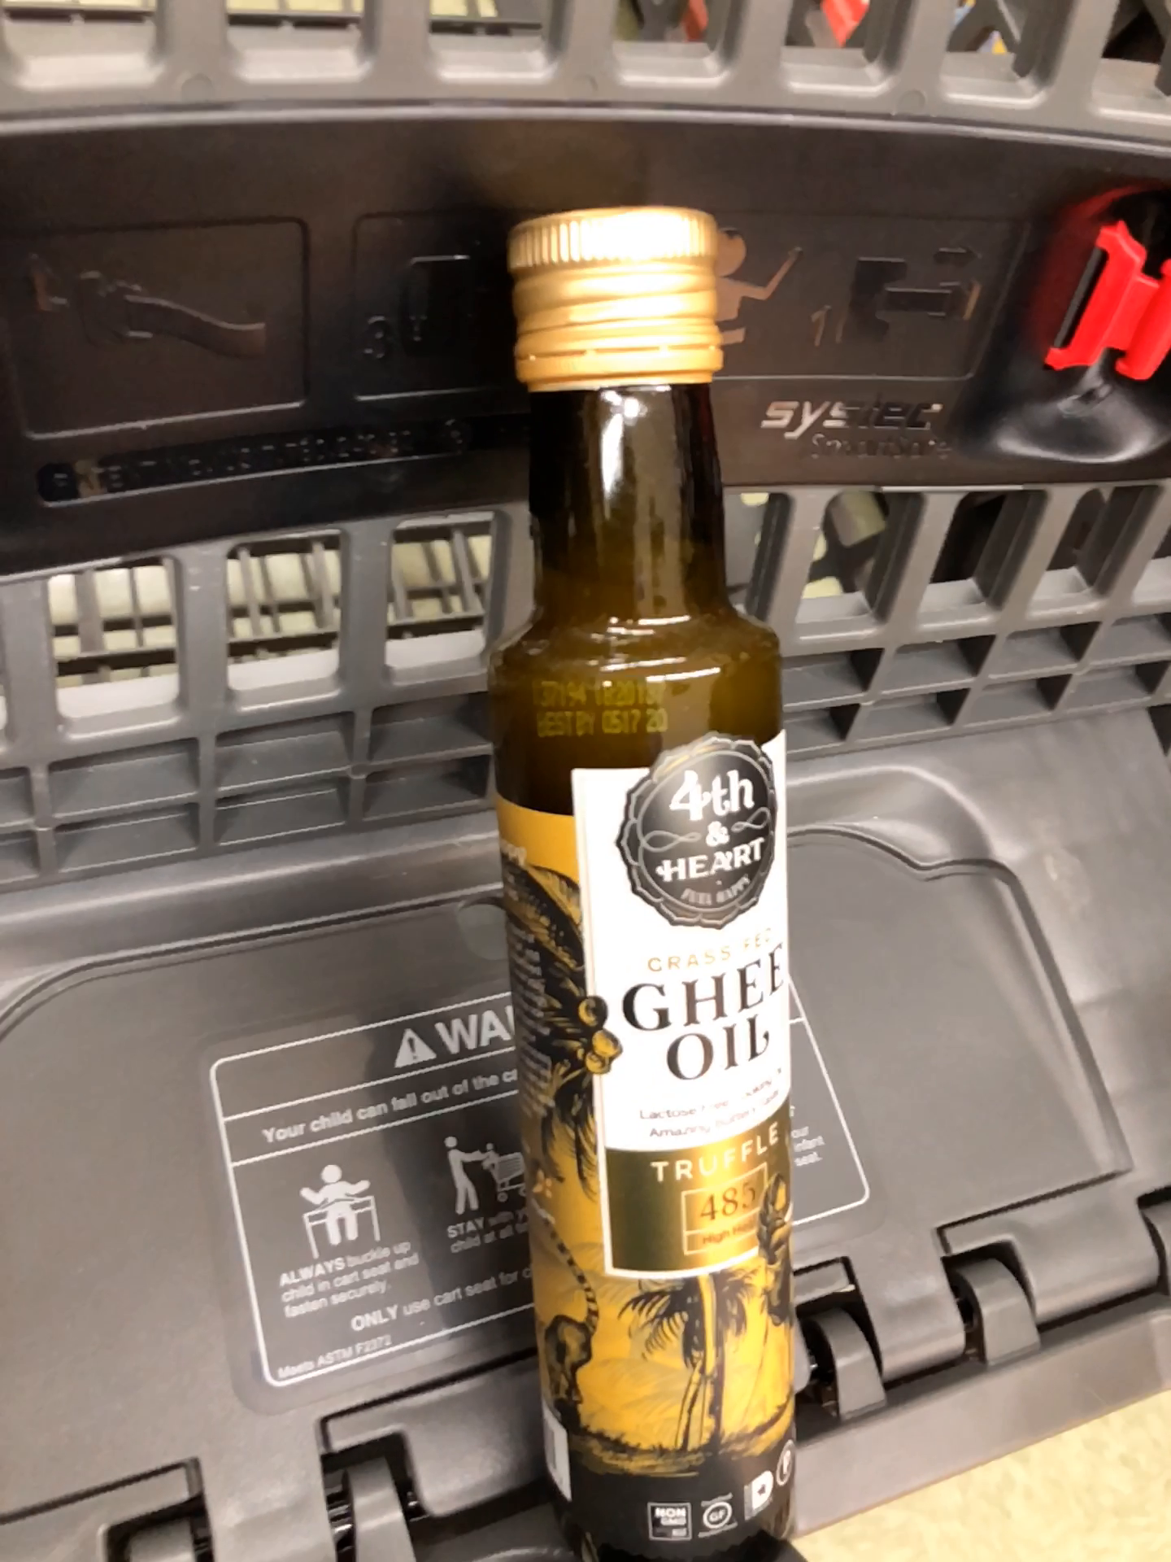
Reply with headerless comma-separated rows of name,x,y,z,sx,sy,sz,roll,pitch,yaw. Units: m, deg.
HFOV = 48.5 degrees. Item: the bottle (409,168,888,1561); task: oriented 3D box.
bottle,0.014,0.035,0.225,0.054,0.050,0.250,-10,108,-19
